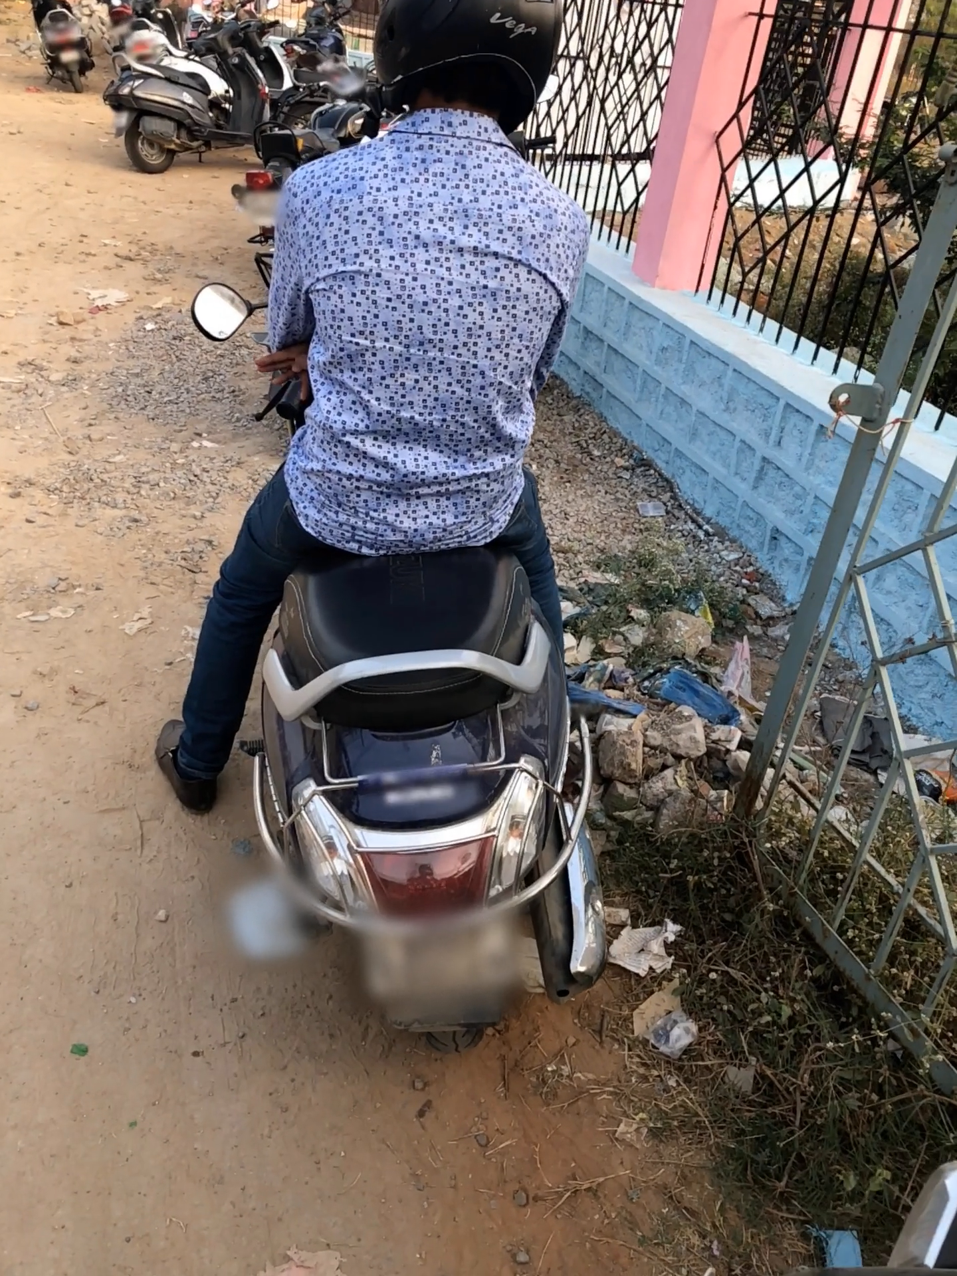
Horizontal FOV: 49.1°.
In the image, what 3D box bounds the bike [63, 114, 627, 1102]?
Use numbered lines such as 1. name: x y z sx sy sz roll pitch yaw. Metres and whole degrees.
1. bike: -0.400 -0.155 1.899 0.593 1.013 1.400 -2 37 -17
